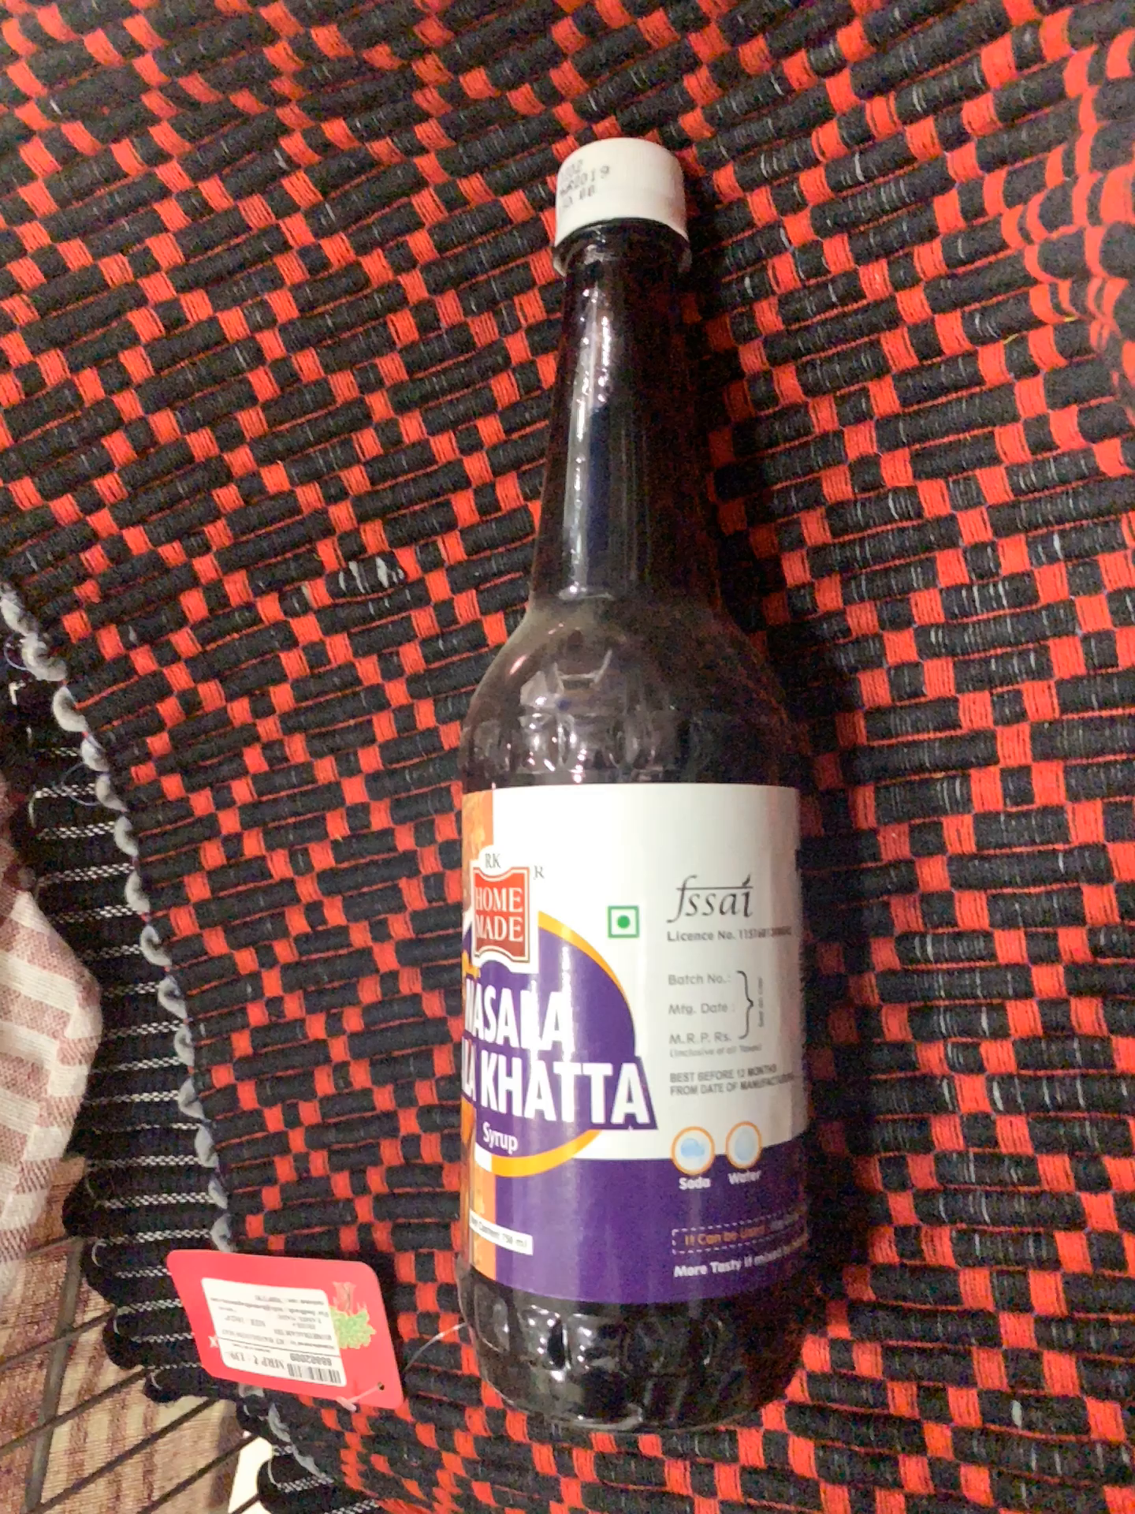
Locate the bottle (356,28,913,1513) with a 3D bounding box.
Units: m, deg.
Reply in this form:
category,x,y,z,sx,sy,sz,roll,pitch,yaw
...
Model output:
category,x,y,z,sx,sy,sz,roll,pitch,yaw
bottle,0.015,0.004,0.251,0.080,0.080,0.260,-6,81,38
